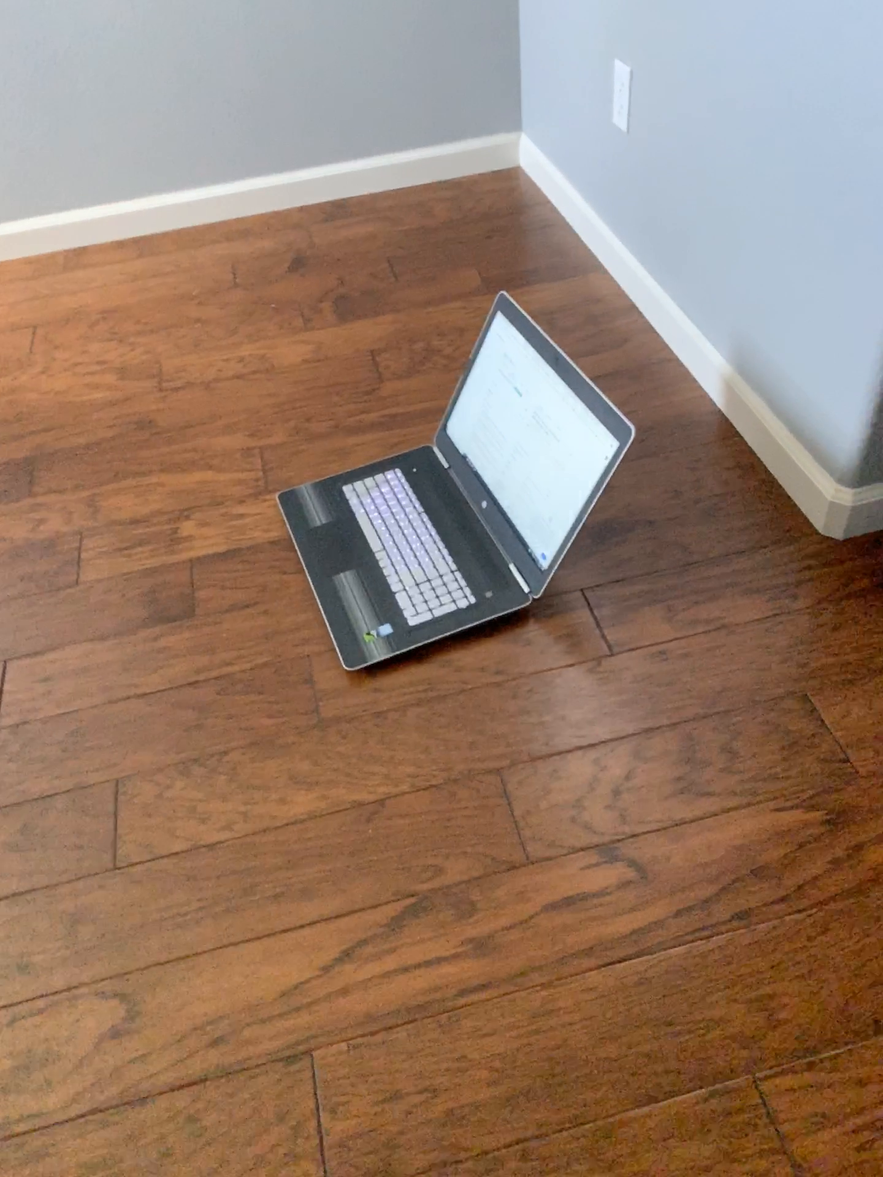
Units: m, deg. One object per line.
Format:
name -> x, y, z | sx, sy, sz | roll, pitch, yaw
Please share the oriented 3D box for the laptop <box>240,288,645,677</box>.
laptop -> -0.012, -0.170, 1.275 | 0.422, 0.233, 0.413 | -20, 46, -11
